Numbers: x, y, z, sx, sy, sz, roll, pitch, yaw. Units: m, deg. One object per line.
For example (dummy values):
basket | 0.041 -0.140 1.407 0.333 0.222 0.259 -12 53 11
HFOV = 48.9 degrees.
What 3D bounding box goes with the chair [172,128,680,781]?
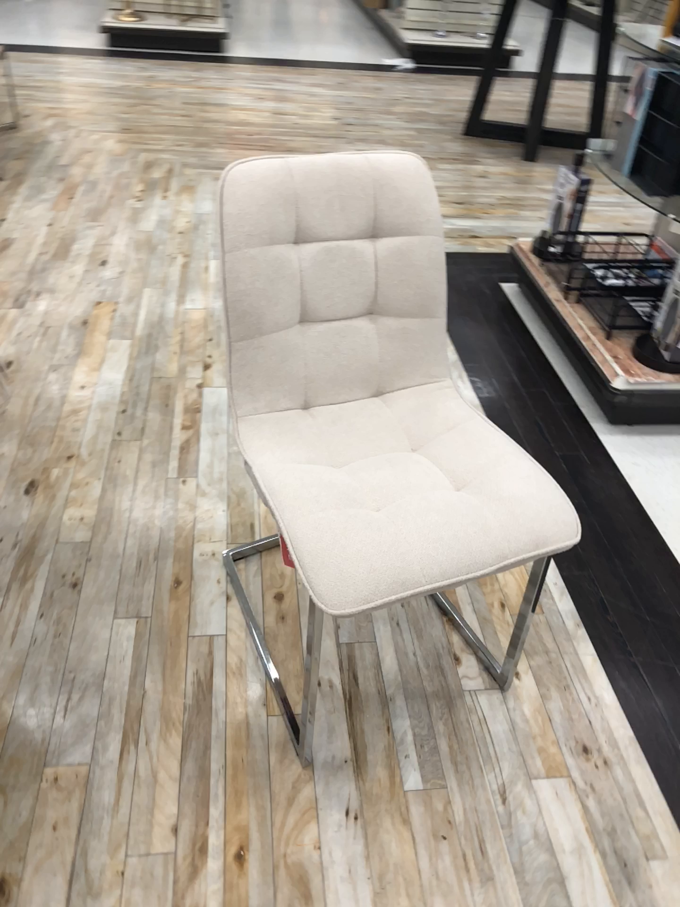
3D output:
chair | 0.059 -0.019 1.260 0.490 0.837 0.592 -12 40 -21
